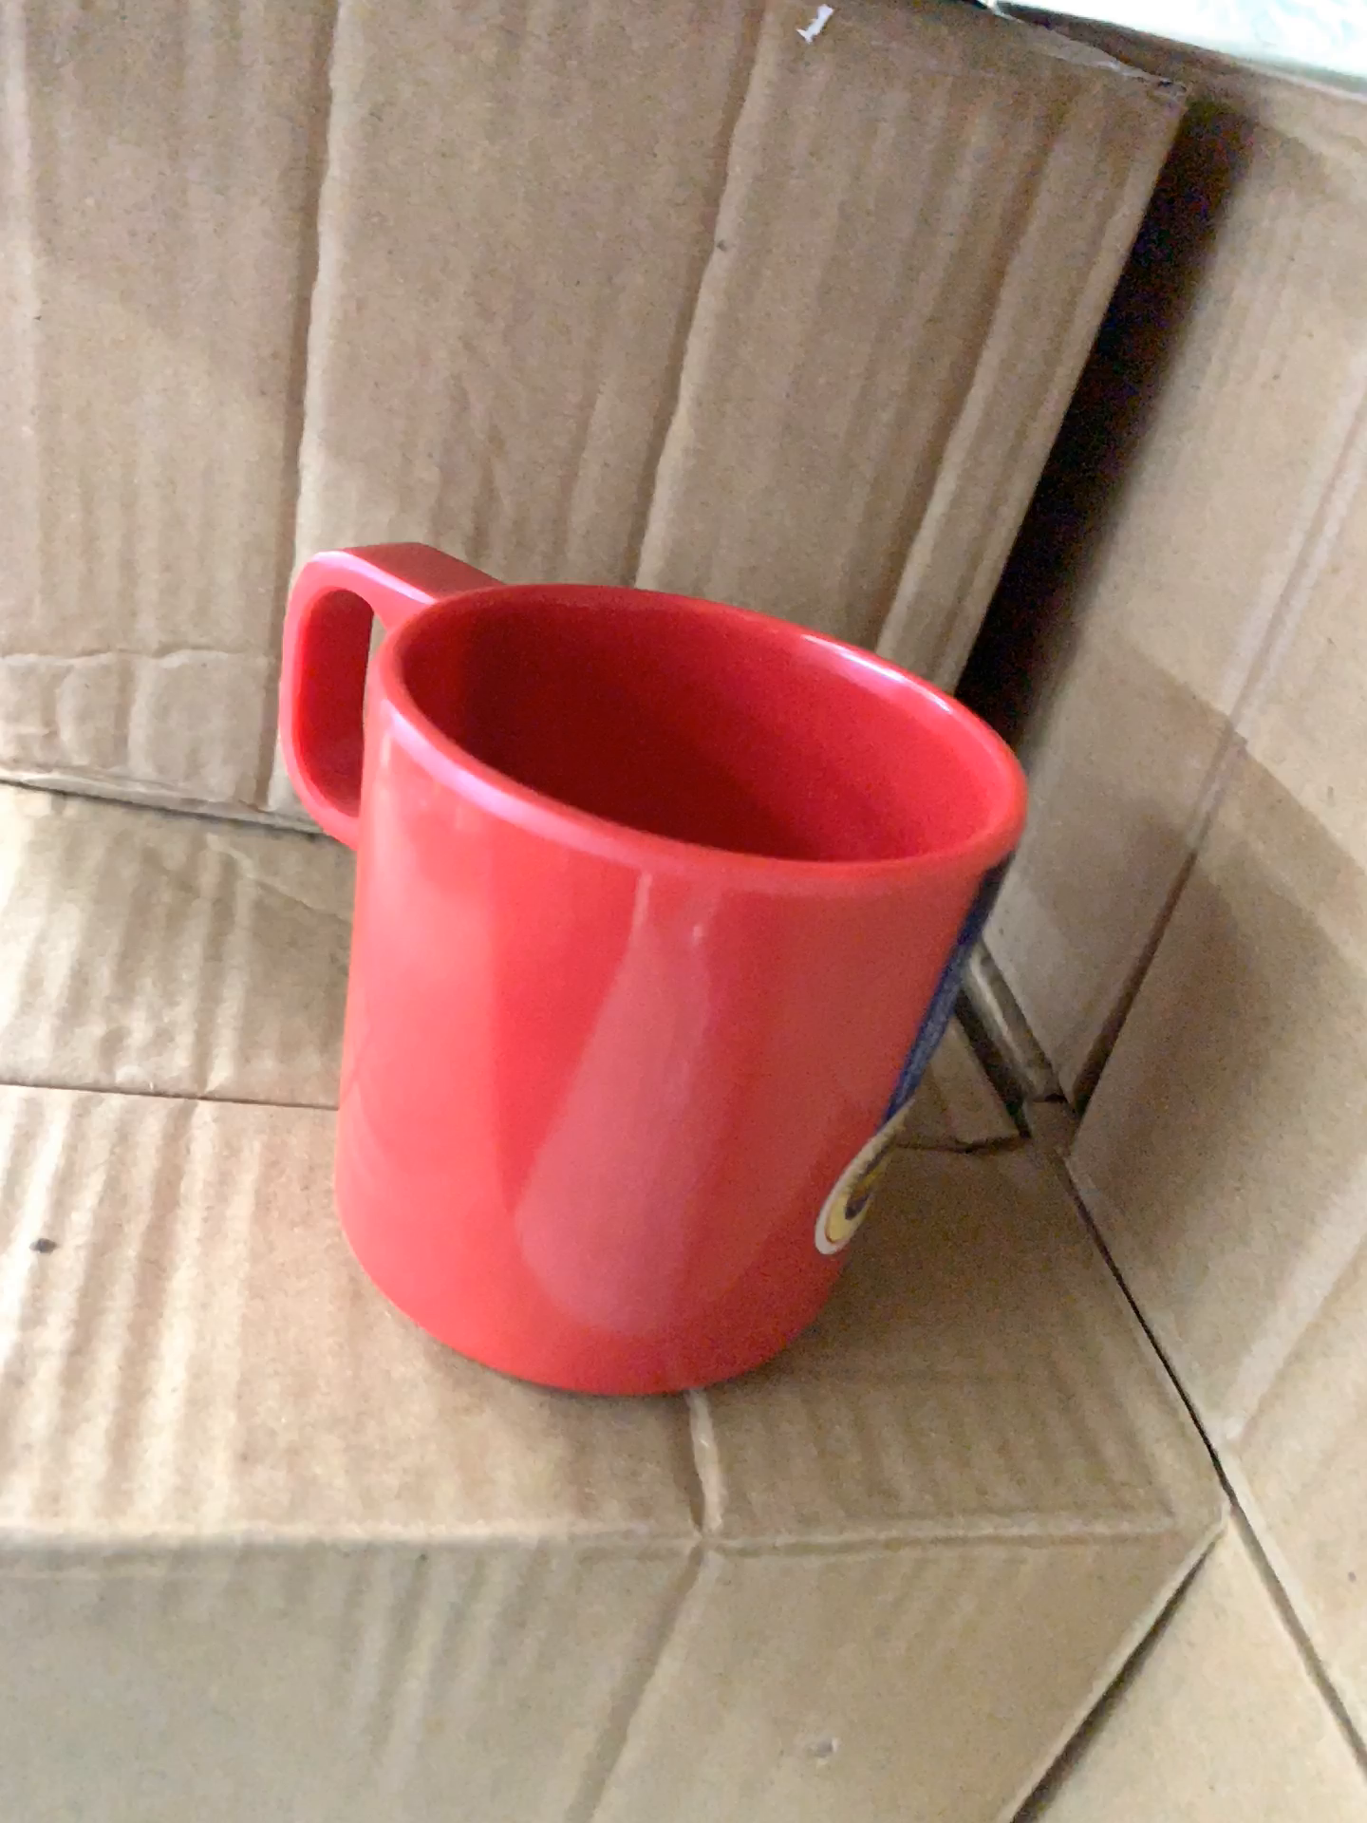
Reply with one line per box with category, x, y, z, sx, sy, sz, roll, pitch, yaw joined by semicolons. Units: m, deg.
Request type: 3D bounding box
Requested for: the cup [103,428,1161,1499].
cup;-0.016;-0.005;0.190;0.110;0.079;0.070;35;38;32
